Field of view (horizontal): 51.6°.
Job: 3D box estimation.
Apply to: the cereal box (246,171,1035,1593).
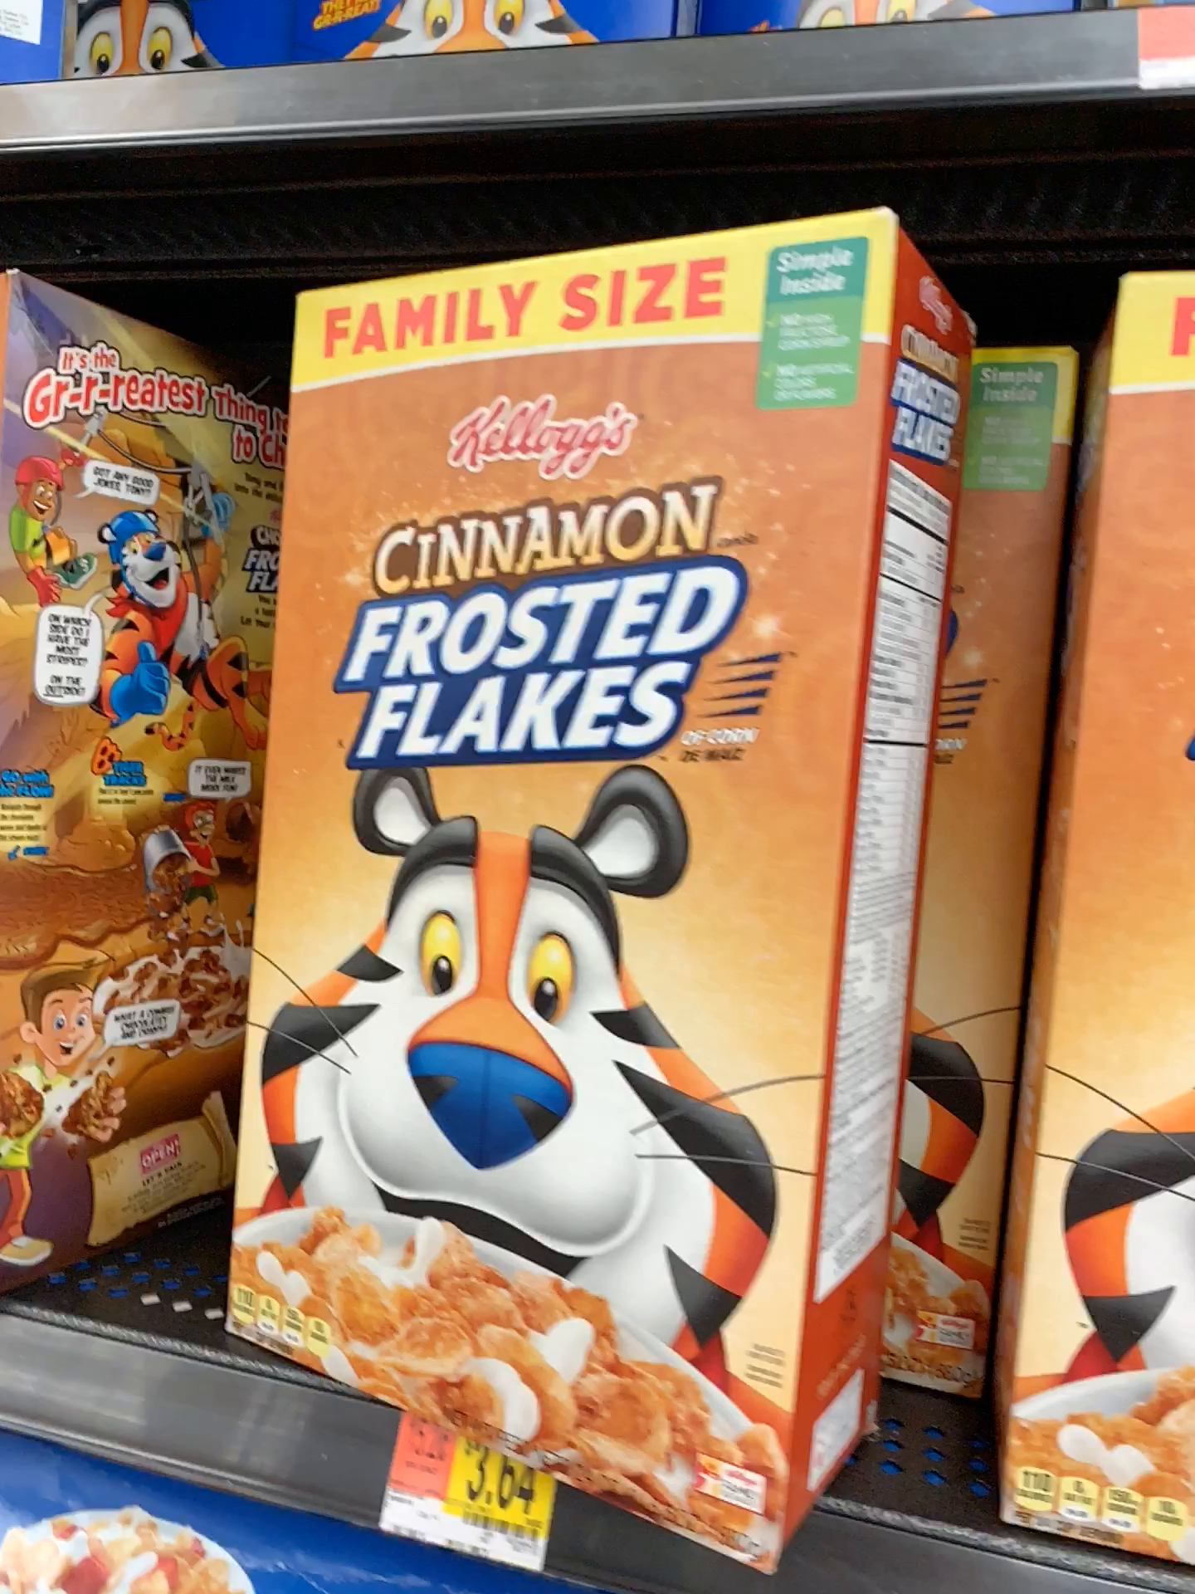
[{"bbox_3d":[0.006,0.019,0.373,0.200,0.340,0.080,5,1,32],"label":"cereal box"}]
